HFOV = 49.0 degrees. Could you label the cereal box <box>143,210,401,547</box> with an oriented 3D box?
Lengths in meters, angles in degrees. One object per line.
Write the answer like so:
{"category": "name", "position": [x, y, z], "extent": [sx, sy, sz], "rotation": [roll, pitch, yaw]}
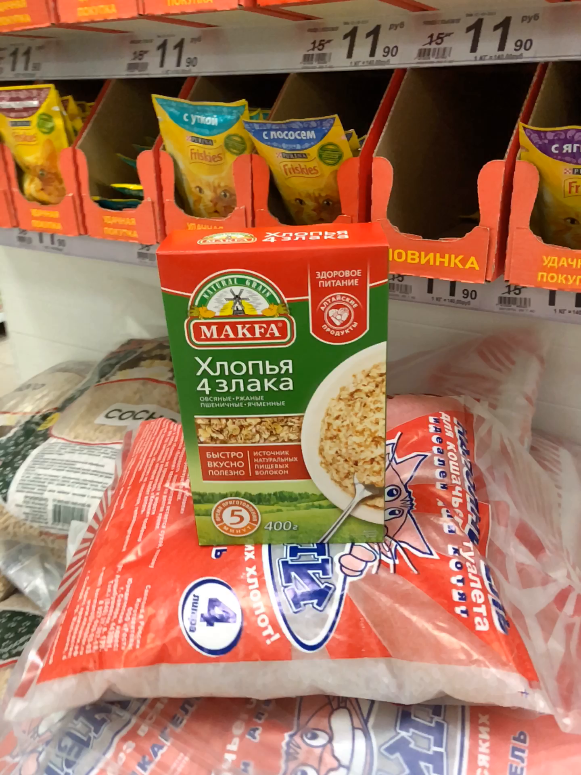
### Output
{"category": "cereal box", "position": [-0.008, 0.001, 0.418], "extent": [0.140, 0.219, 0.050], "rotation": [-1, 27, 1]}
